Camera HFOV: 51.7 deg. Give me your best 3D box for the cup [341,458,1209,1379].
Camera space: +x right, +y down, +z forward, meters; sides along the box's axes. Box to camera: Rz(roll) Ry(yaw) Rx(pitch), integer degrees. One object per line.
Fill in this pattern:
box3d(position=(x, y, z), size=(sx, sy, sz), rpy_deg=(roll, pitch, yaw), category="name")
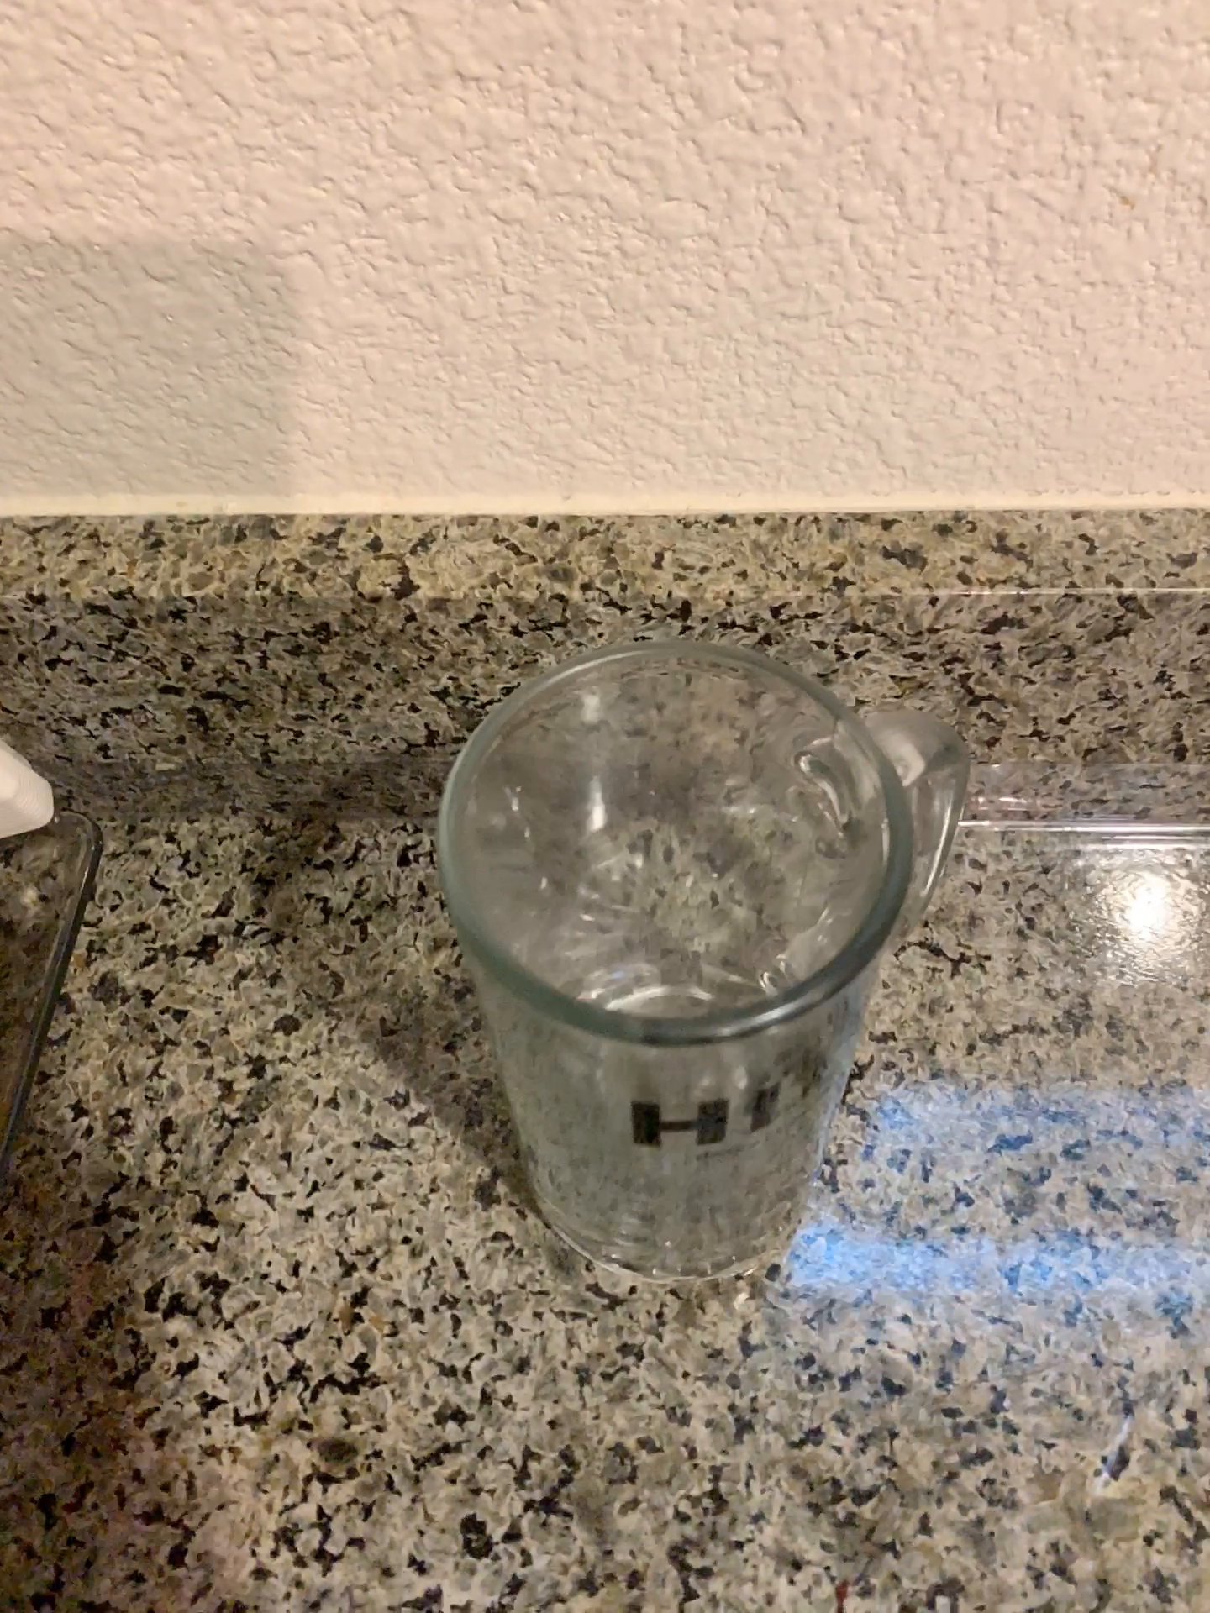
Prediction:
box3d(position=(0.032, 0.034, 0.271), size=(0.120, 0.159, 0.081), rpy_deg=(-35, 61, -19), category="cup")
